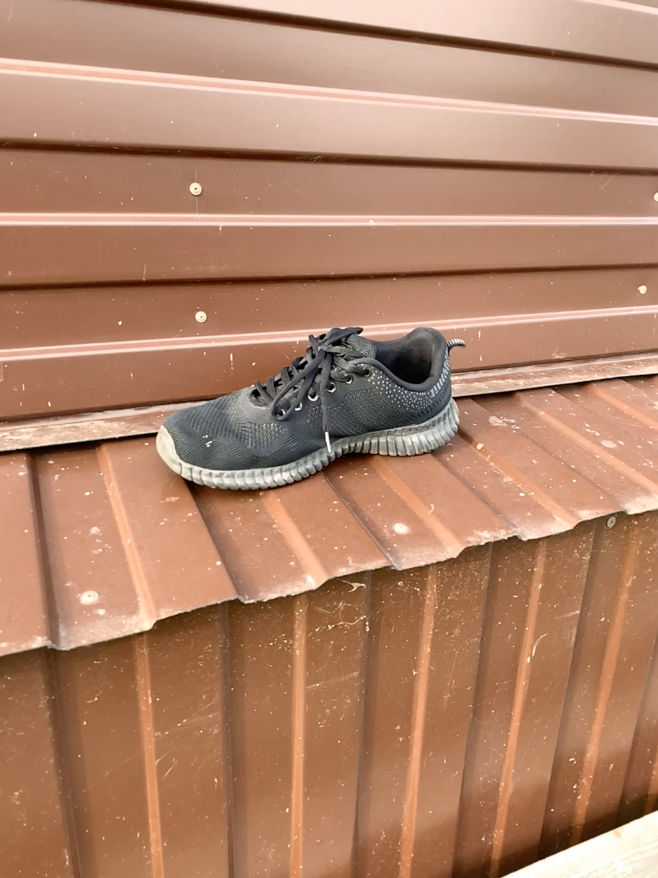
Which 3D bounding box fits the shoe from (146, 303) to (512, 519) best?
[{"bbox_3d":[0.000,-0.040,0.612,0.301,0.119,0.121,-9,32,-27],"label":"shoe"}]
